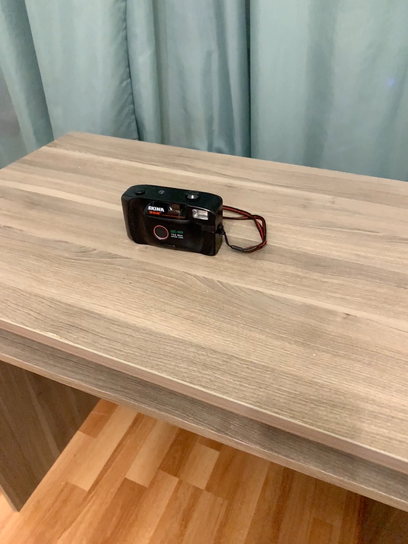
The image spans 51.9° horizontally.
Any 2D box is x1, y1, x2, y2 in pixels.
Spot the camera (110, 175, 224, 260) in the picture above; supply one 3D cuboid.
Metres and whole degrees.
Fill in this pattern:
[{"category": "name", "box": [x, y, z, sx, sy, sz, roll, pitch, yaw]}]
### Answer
[{"category": "camera", "box": [-0.042, -0.066, 0.498, 0.120, 0.069, 0.046, 11, 38, 14]}]
